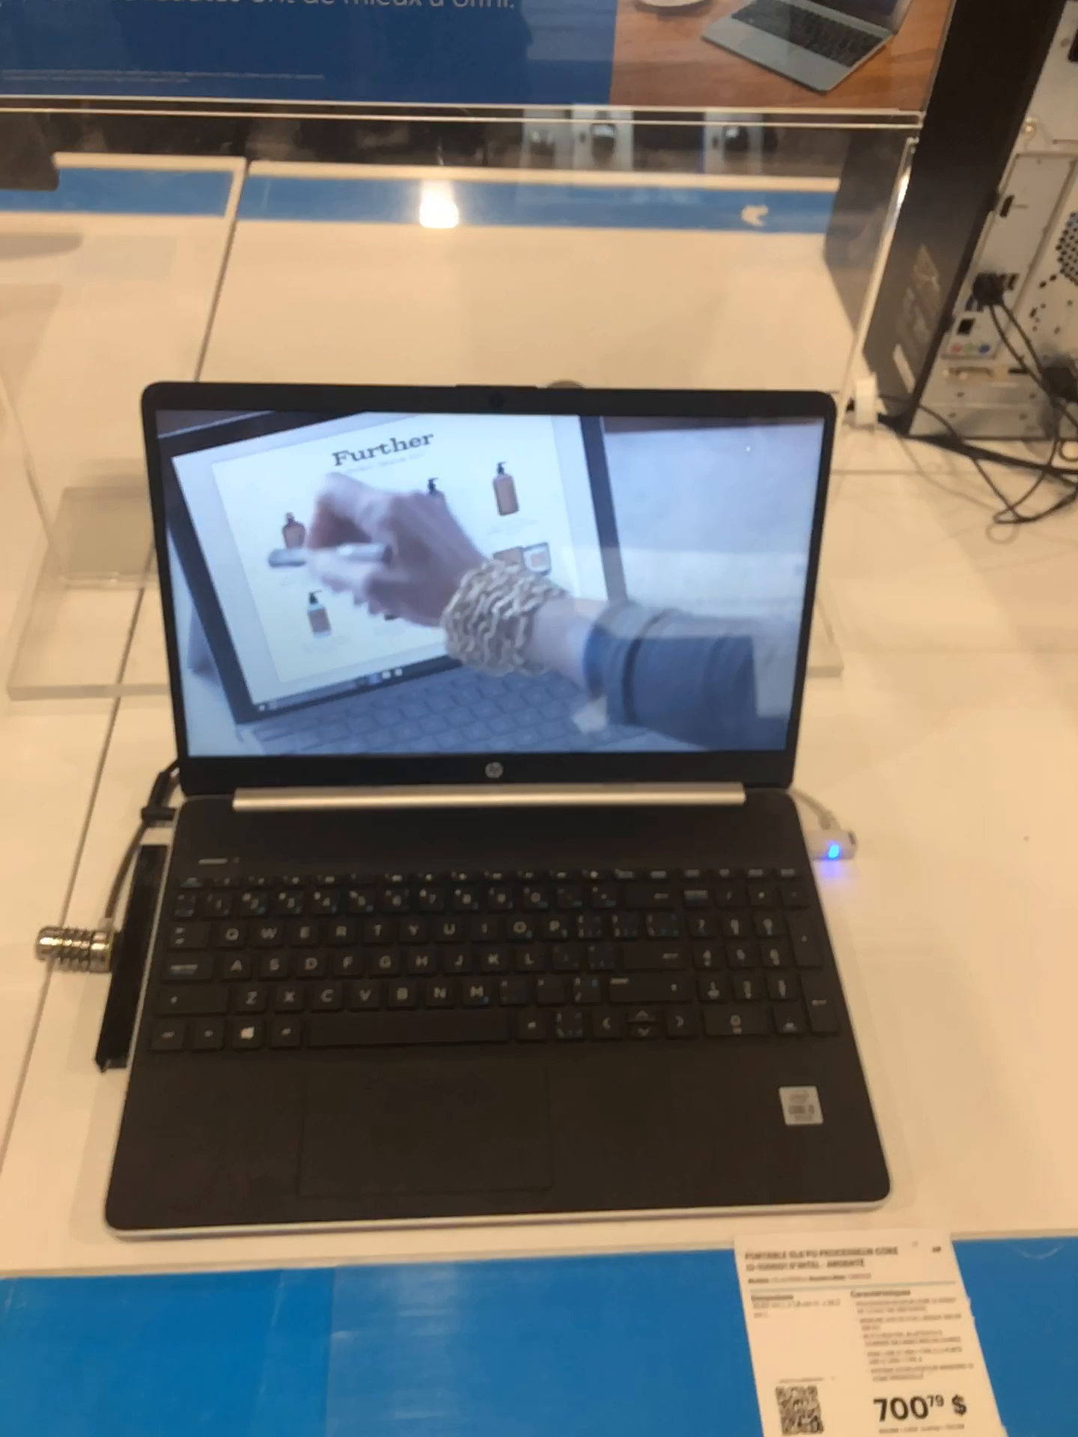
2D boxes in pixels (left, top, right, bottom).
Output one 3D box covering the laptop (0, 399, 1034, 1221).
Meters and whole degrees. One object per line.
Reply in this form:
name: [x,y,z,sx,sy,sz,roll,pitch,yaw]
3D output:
laptop: [-0.017,0.027,0.573,0.346,0.196,0.335,0,48,-5]
